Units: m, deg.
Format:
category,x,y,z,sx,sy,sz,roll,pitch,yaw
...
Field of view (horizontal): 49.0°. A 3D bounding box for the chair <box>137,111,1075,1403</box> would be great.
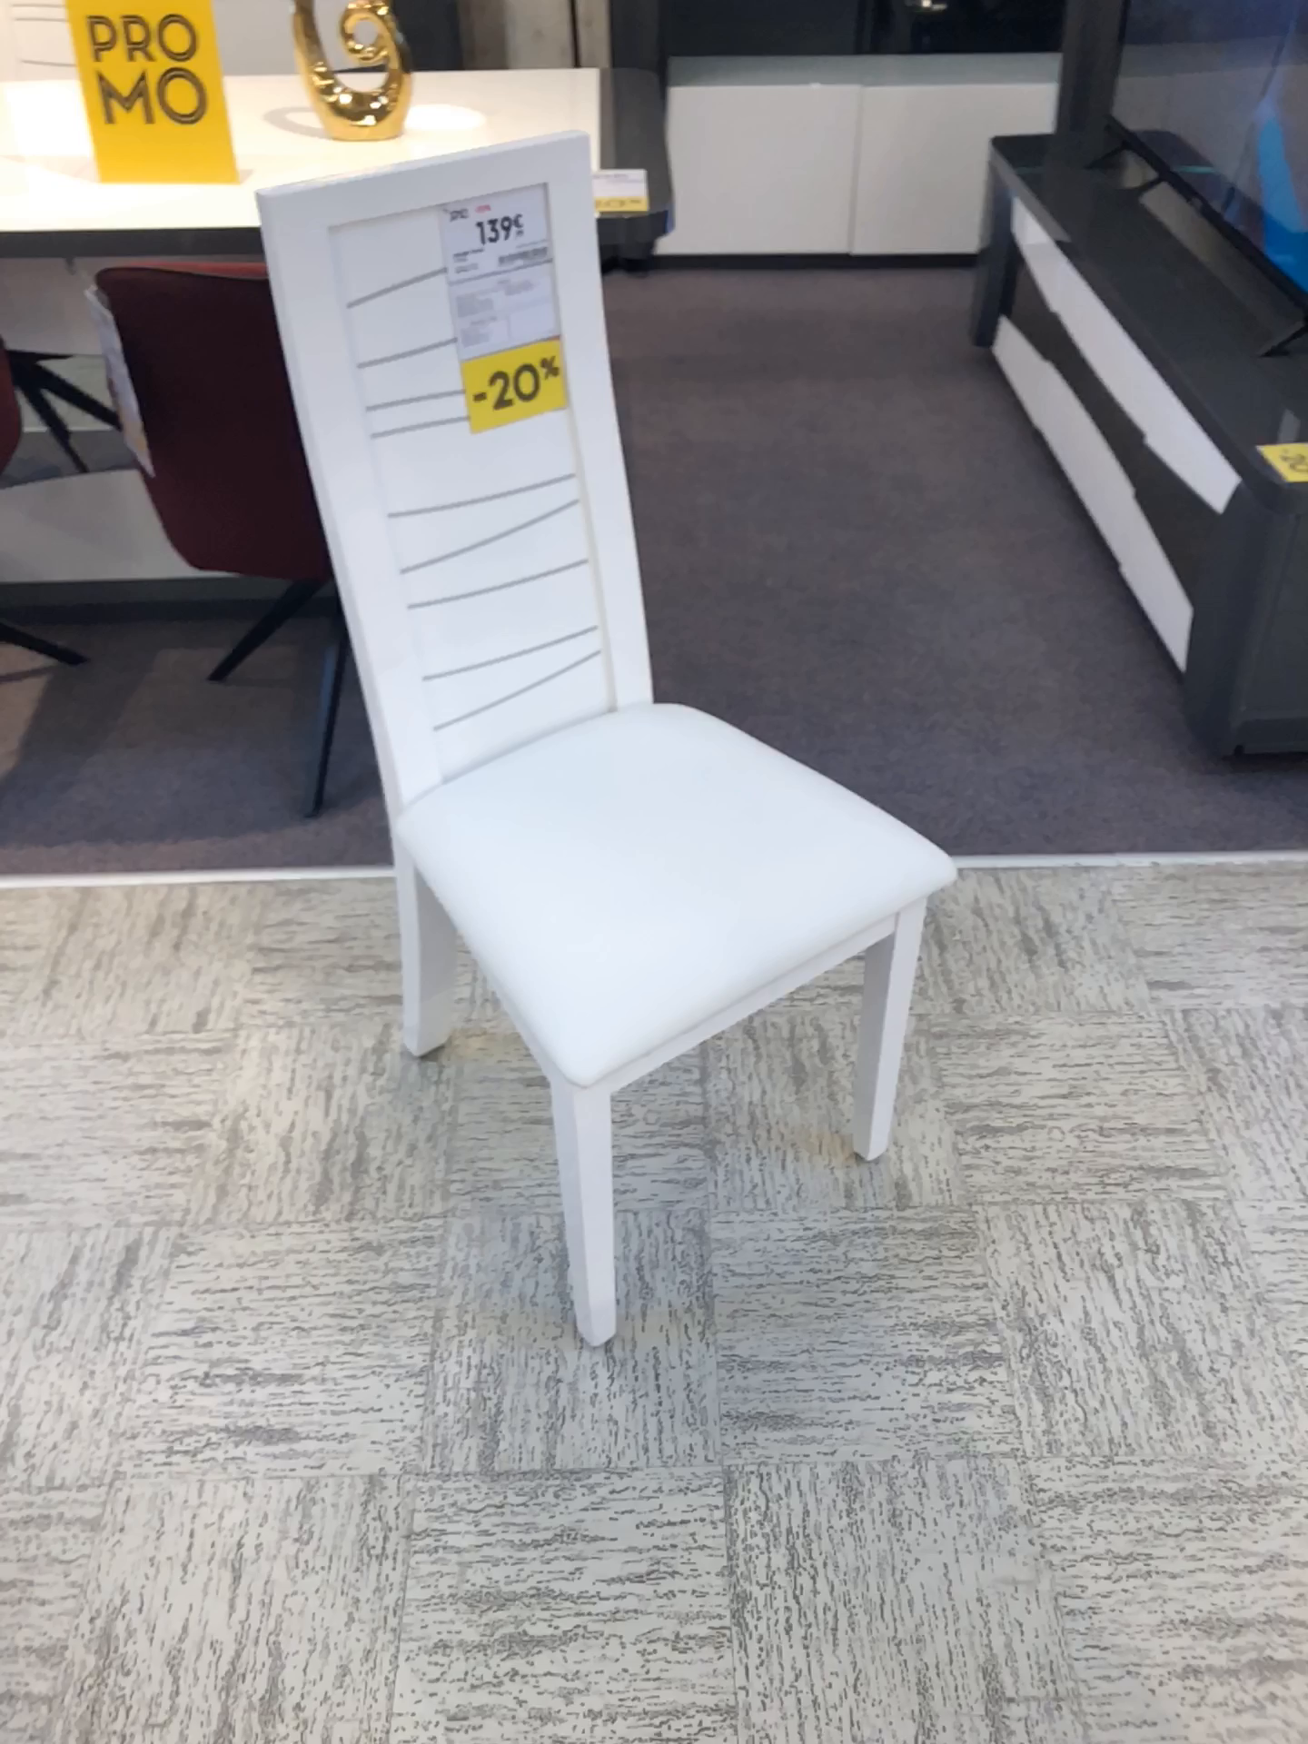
category,x,y,z,sx,sy,sz,roll,pitch,yaw
chair,-0.050,-0.084,1.369,0.452,1.004,0.541,-27,47,-28
